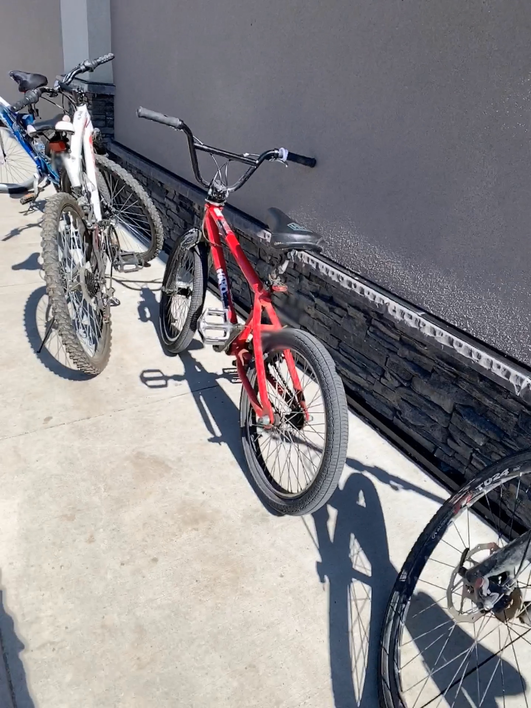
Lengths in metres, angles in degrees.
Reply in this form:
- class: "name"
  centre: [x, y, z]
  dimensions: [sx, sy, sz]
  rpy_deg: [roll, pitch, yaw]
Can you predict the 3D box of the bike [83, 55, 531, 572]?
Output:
- class: "bike"
  centre: [-0.045, -0.293, 1.717]
  dimensions: [0.773, 0.908, 1.319]
  rpy_deg: [-7, 34, -25]
